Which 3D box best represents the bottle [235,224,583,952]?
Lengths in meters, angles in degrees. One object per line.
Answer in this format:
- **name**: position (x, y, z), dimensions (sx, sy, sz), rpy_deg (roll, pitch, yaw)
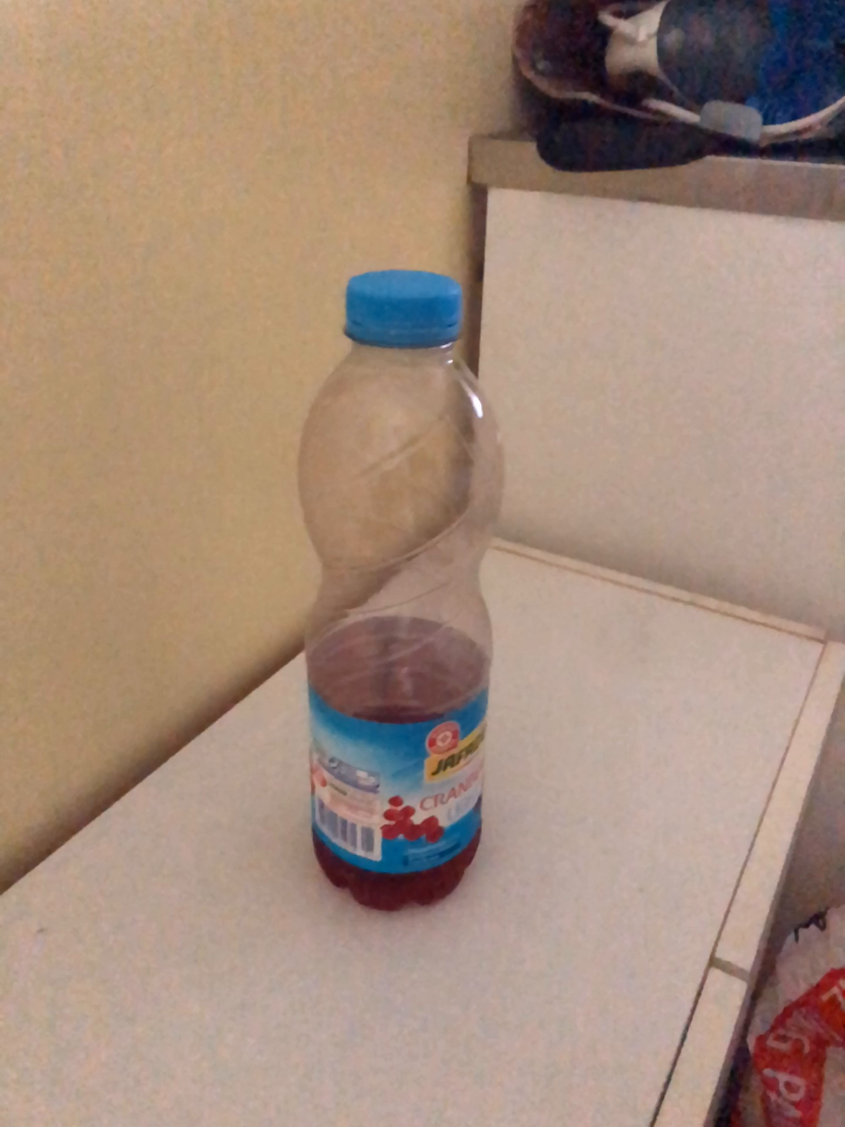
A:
- **bottle**: position (-0.005, 0.014, 0.376), dimensions (0.080, 0.268, 0.091), rpy_deg (18, 32, 28)
